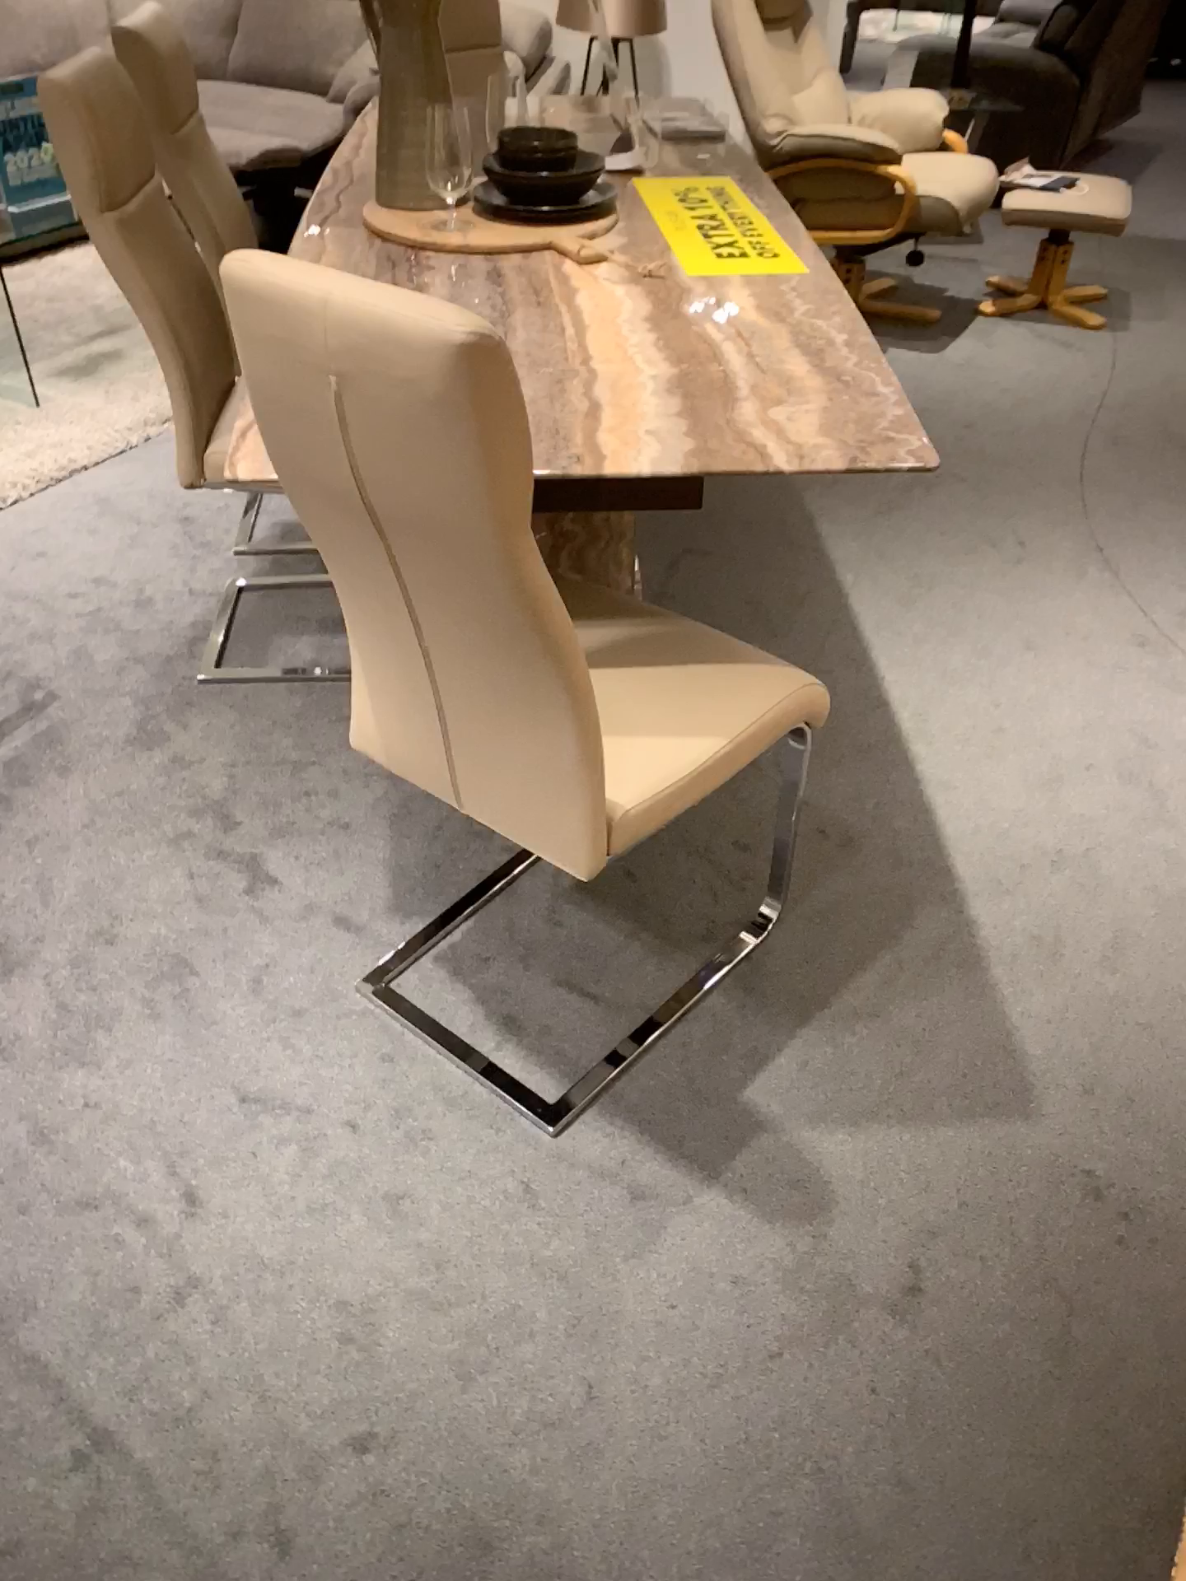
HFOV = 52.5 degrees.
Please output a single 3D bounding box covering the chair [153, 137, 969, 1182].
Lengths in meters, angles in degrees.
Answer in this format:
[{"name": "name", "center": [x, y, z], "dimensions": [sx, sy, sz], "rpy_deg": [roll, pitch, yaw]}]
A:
[{"name": "chair", "center": [-0.021, -0.162, 1.453], "dimensions": [0.529, 0.981, 0.586], "rpy_deg": [28, 45, 30]}]
